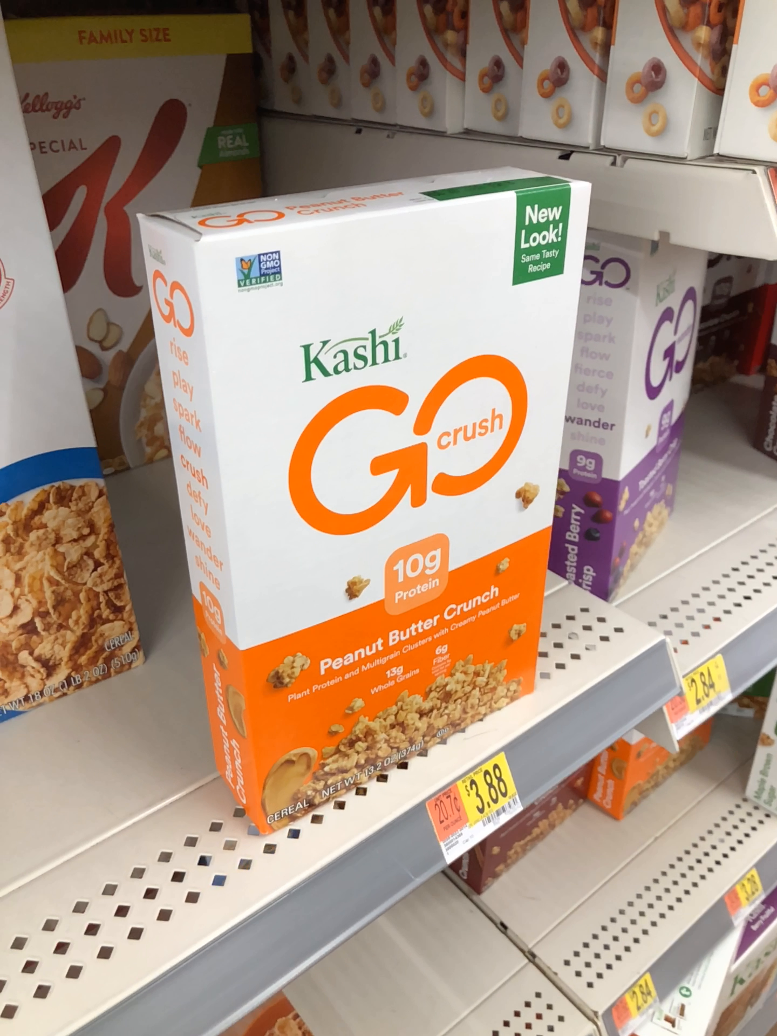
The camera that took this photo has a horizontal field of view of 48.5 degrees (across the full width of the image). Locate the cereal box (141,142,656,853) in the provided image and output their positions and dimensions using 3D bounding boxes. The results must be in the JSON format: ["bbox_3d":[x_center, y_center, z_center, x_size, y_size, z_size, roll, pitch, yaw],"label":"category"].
[{"bbox_3d":[0.010,-0.005,0.346,0.170,0.249,0.050,-20,38,-29],"label":"cereal box"}]
